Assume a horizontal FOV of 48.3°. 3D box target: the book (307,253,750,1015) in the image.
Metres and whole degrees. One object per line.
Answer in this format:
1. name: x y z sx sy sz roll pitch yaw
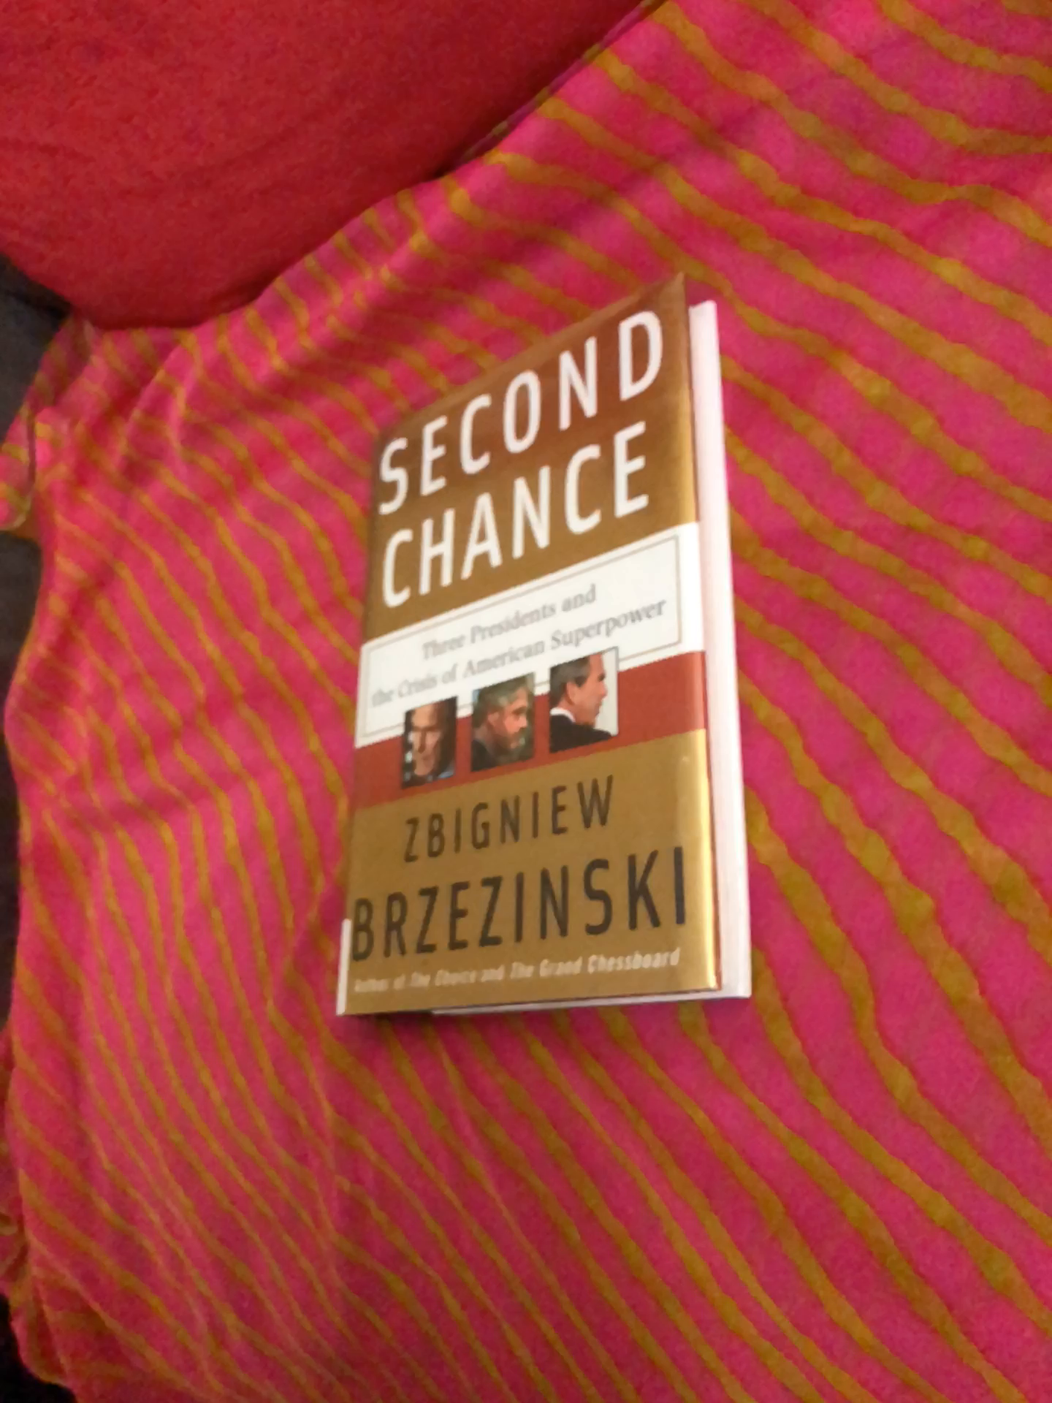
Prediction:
1. book: -0.006 -0.011 0.359 0.141 0.037 0.200 -18 64 44
